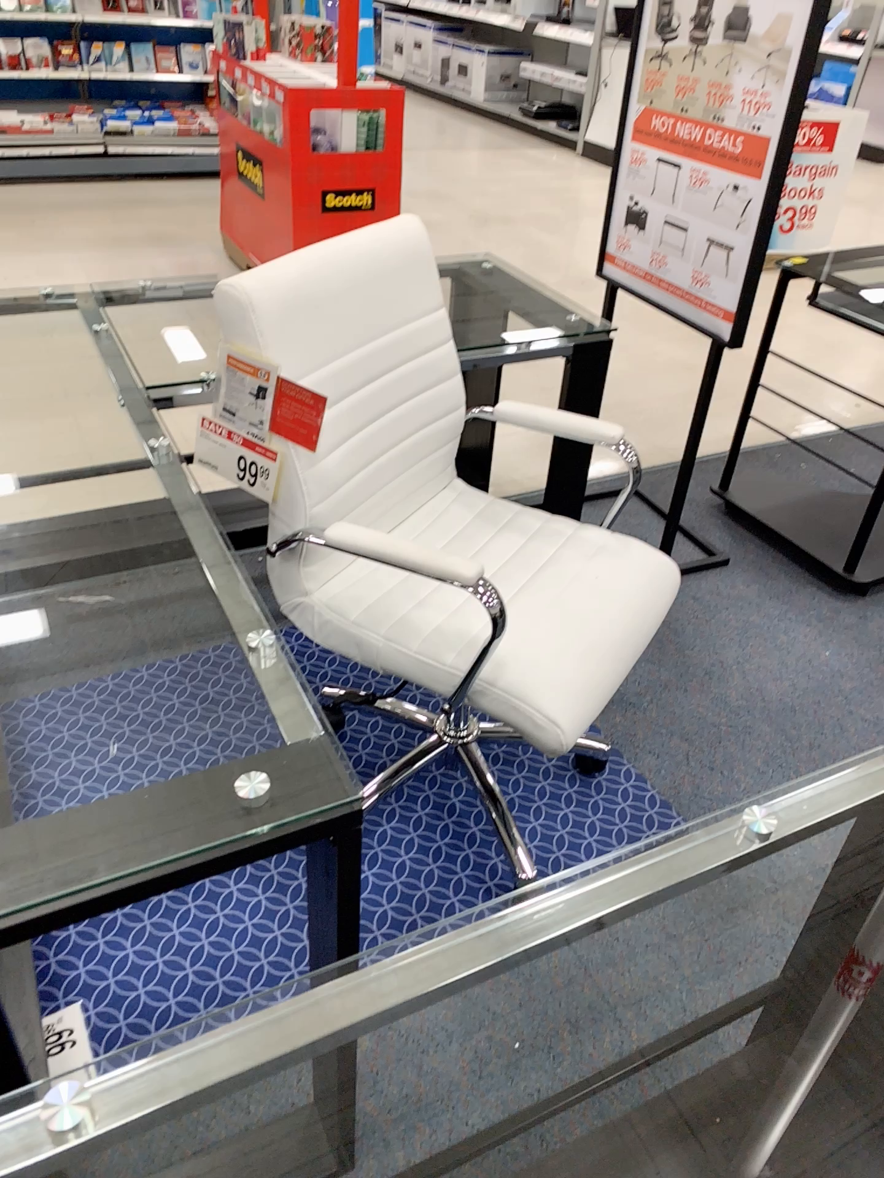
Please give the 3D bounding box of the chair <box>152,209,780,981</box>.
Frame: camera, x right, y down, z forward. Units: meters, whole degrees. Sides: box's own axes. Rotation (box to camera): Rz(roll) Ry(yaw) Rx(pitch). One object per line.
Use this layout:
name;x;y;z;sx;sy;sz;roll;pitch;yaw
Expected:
chair;0.038;-0.018;1.511;0.662;0.963;0.617;20;38;20
